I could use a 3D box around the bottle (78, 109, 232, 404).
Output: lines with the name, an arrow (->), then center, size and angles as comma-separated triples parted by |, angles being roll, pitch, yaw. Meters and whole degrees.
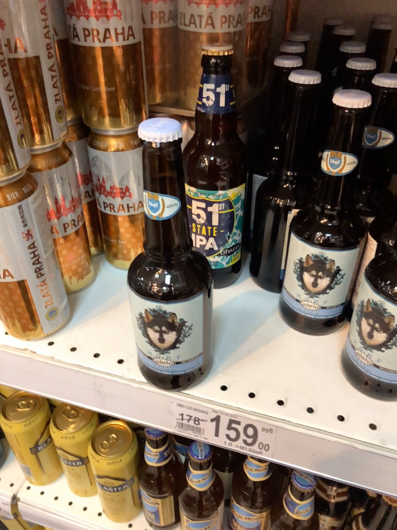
bottle -> -0.024, 0.003, 0.342 | 0.080, 0.219, 0.070 | 8, 37, 10
